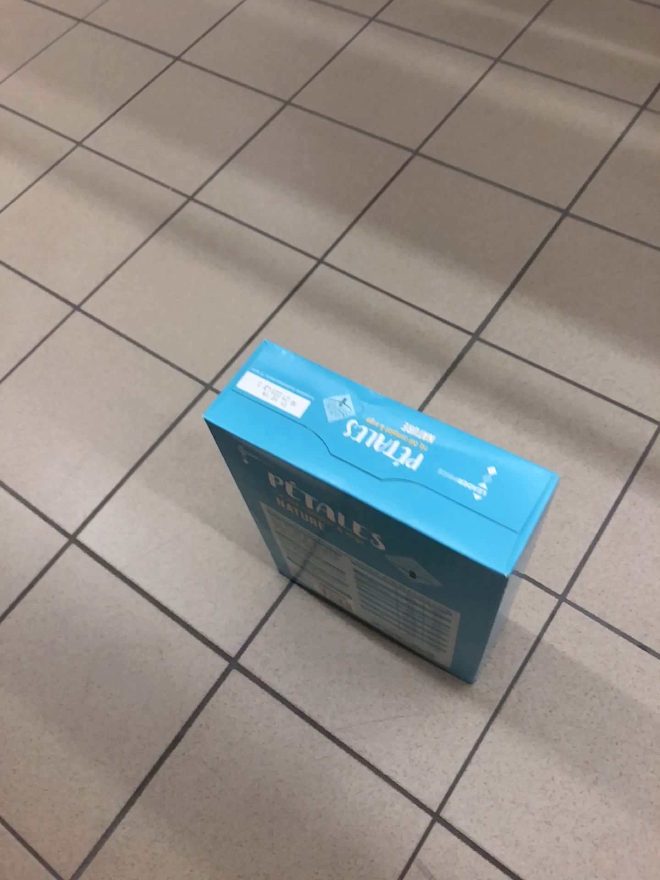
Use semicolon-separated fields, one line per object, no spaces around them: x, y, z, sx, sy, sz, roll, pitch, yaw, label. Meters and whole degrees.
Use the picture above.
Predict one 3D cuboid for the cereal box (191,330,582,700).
0.038;0.070;0.505;0.200;0.269;0.070;26;66;20;cereal box
